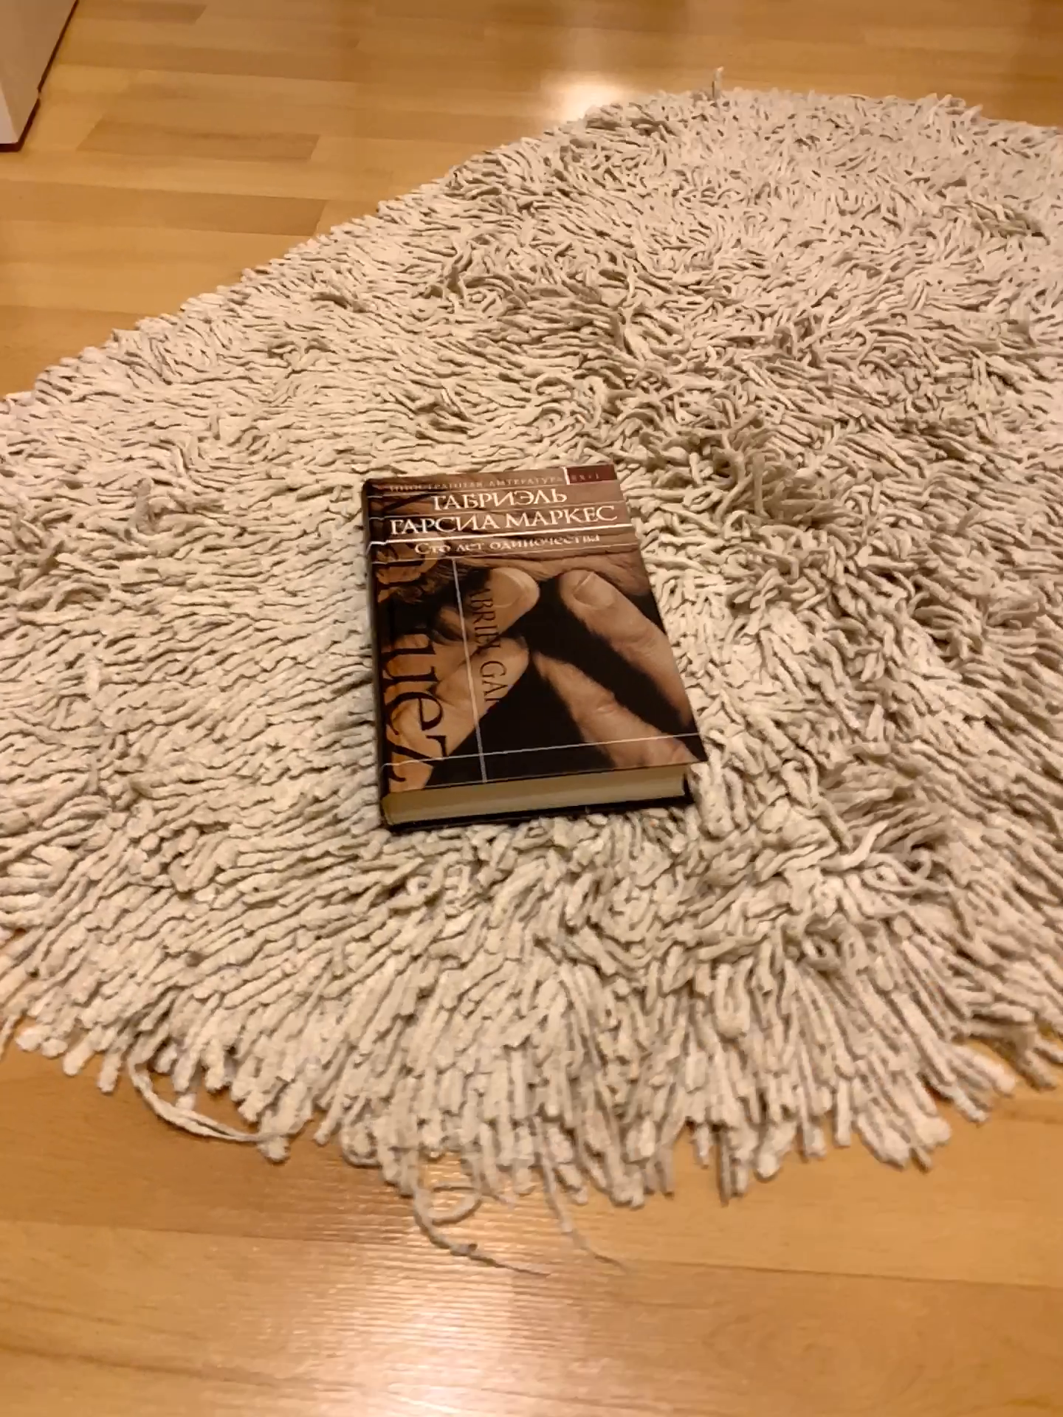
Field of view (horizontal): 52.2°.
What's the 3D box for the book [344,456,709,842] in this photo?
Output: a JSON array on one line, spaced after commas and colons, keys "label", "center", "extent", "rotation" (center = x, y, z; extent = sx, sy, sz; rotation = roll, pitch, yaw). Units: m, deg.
[{"label": "book", "center": [-0.013, -0.040, 0.507], "extent": [0.140, 0.030, 0.212], "rotation": [-5, 48, -7]}]
